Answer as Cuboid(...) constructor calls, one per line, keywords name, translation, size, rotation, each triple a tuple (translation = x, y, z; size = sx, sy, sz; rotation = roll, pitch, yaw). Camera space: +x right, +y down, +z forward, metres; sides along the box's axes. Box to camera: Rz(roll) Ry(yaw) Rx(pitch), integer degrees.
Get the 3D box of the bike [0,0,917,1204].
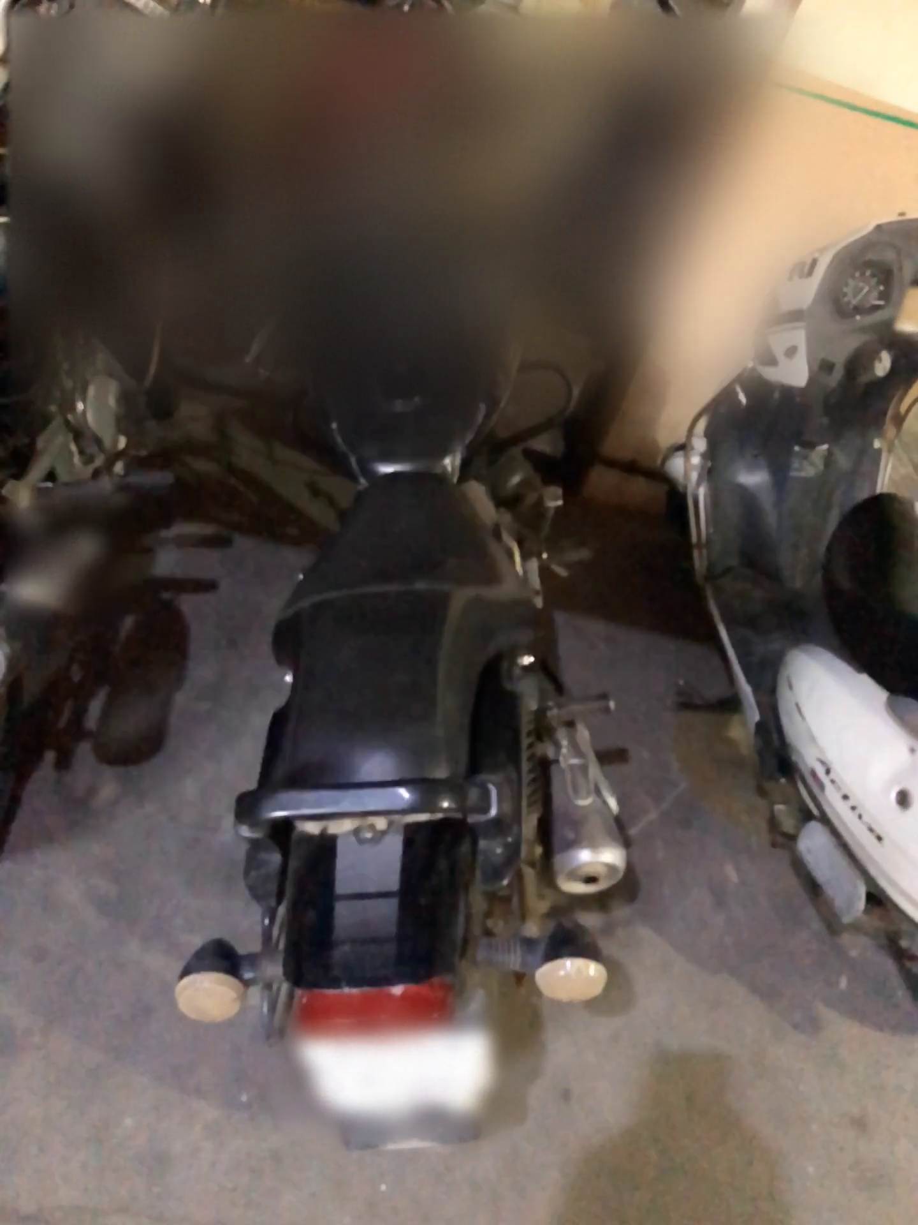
Cuboid(name="bike", translation=(-0.203, -0.245, 1.616), size=(0.863, 1.251, 1.676), rotation=(9, 41, -15))
